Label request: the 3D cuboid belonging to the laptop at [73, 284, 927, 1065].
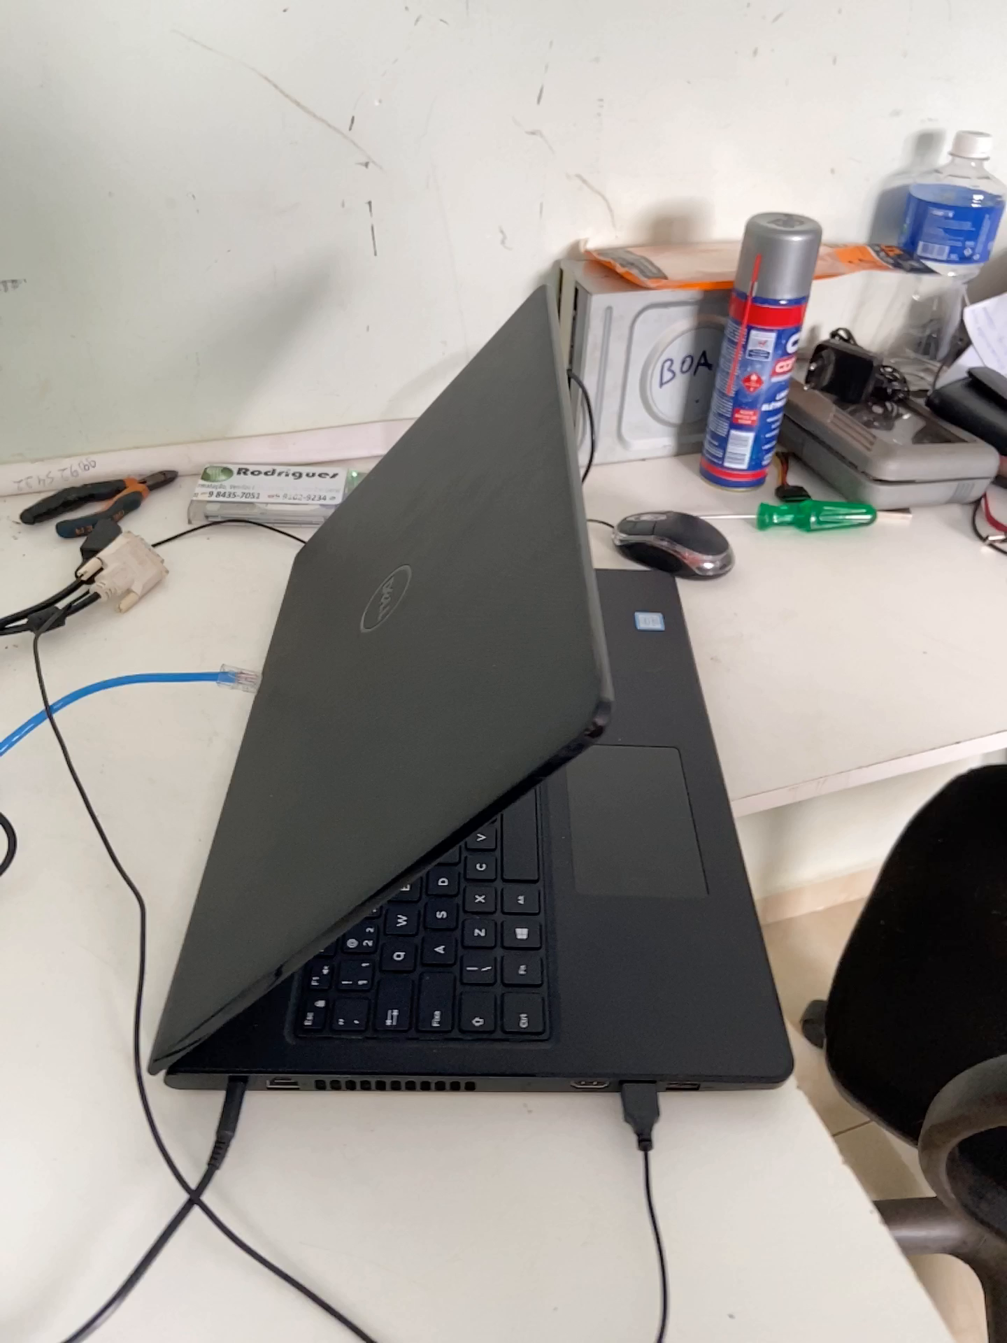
[{"bbox_3d":[-0.009,-0.031,0.515,0.255,0.192,0.374,1,38,-3],"label":"laptop"}]
